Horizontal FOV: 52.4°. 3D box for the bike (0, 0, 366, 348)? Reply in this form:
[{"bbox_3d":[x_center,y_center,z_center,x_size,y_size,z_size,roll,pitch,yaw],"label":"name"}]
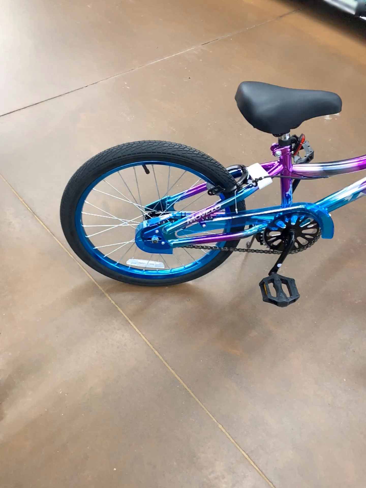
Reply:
[{"bbox_3d":[0.282,-0.301,0.923,1.120,0.877,0.622,-4,55,-12],"label":"bike"}]
